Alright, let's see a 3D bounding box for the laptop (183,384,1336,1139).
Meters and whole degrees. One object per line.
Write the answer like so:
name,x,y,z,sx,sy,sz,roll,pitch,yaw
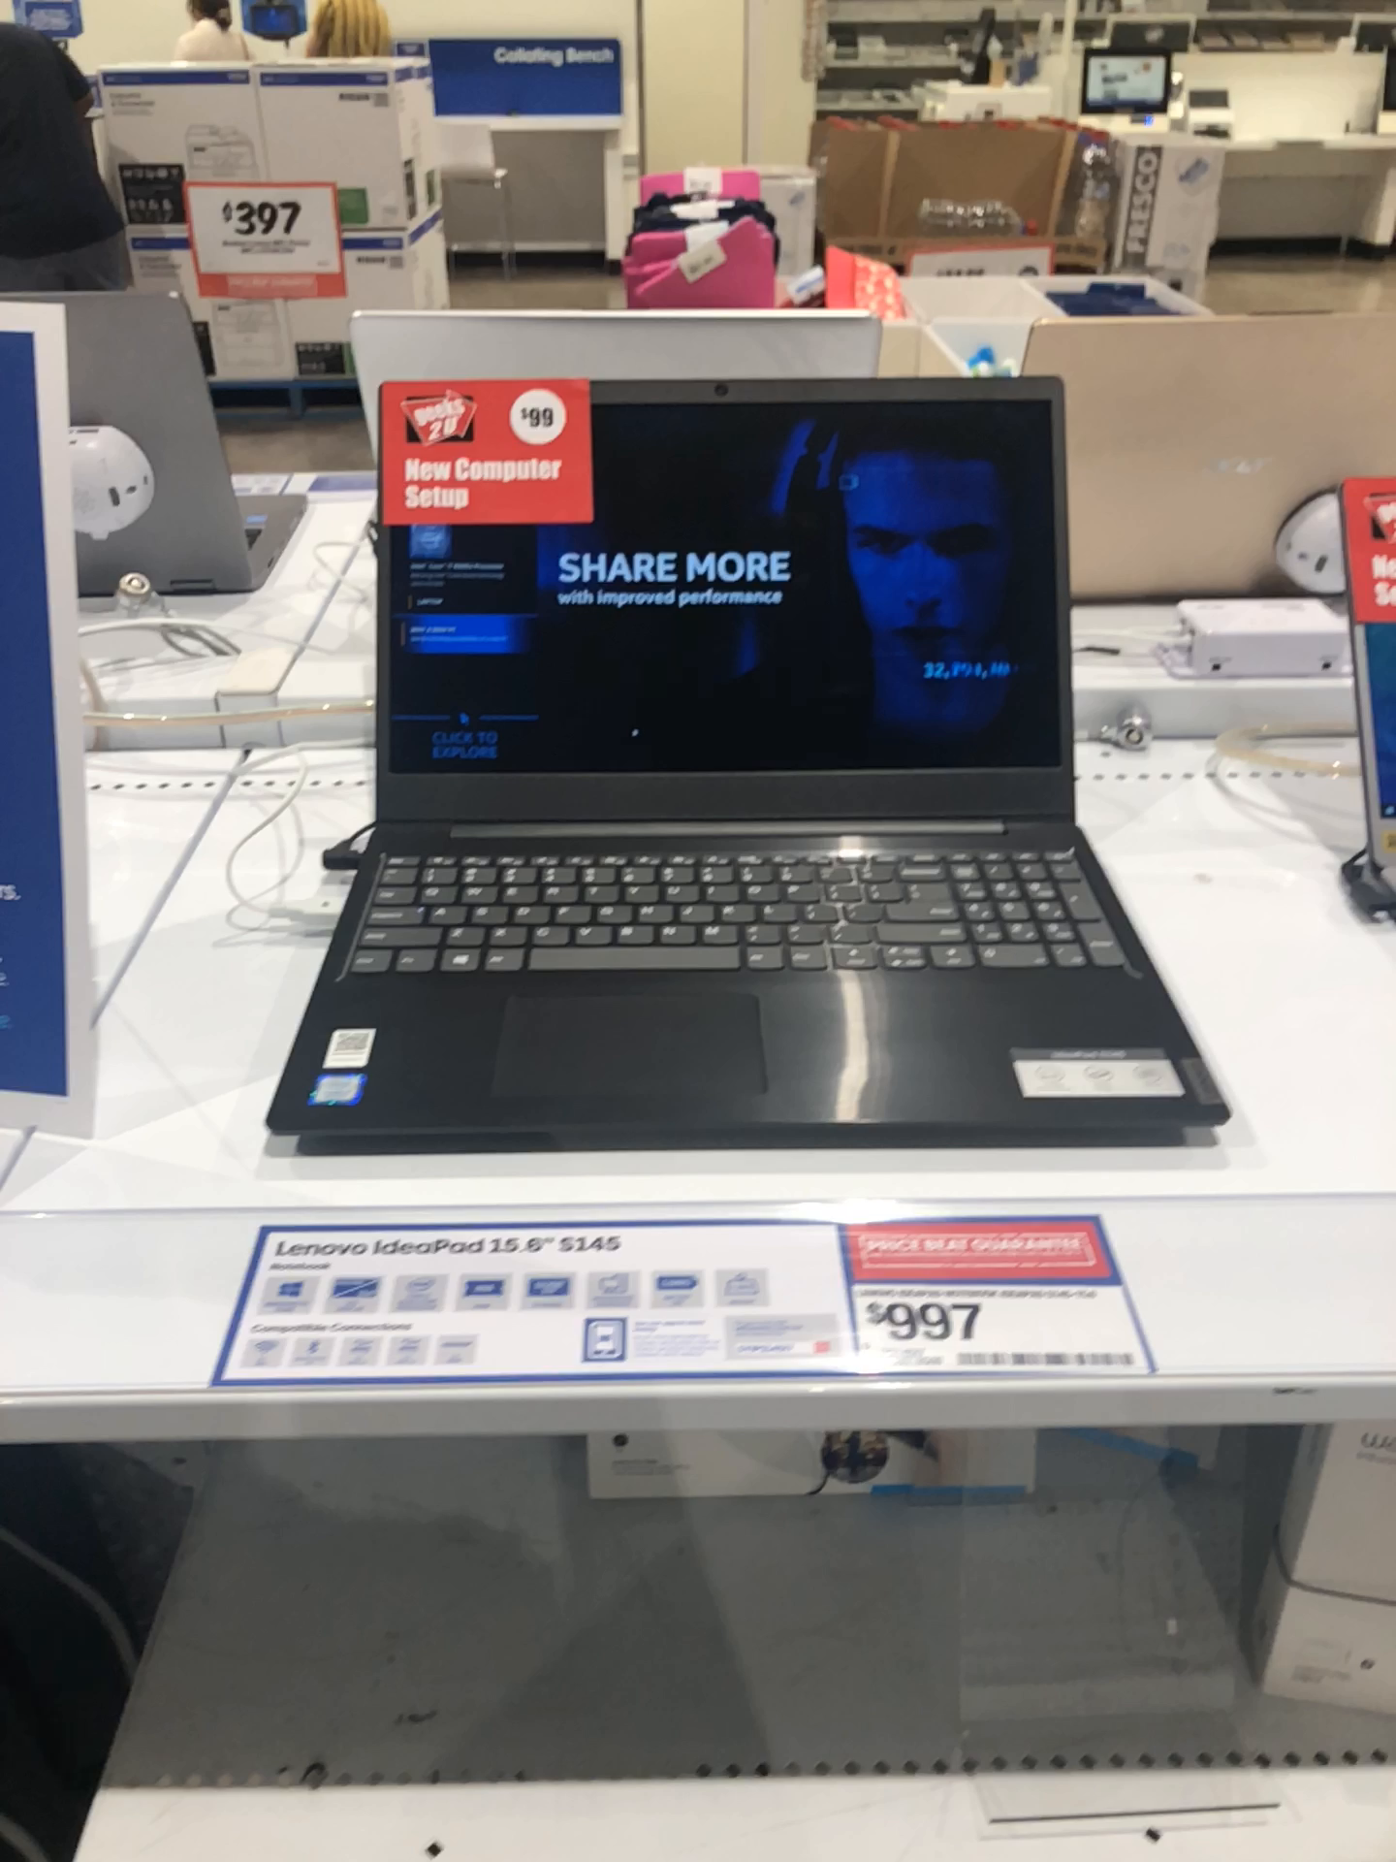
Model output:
laptop,0.017,-0.104,0.680,0.352,0.192,0.374,-1,30,-1
